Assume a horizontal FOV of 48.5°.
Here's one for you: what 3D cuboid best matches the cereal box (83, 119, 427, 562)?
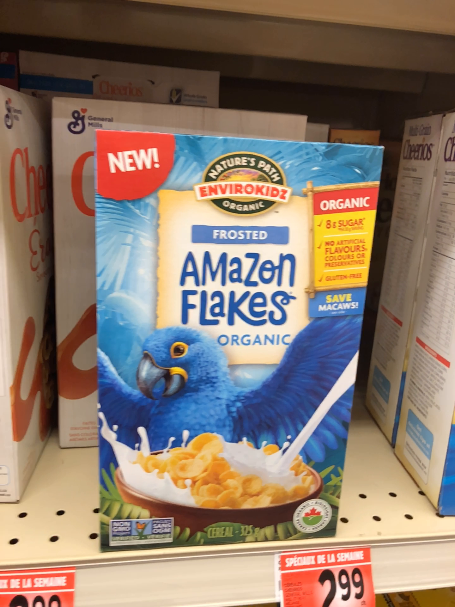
[{"bbox_3d":[0.007,0.028,0.303,0.170,0.249,0.050,1,16,-9],"label":"cereal box"}]
